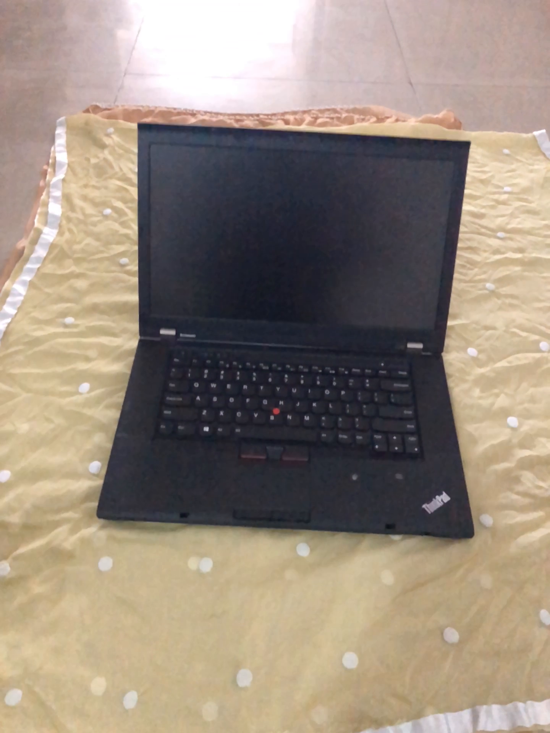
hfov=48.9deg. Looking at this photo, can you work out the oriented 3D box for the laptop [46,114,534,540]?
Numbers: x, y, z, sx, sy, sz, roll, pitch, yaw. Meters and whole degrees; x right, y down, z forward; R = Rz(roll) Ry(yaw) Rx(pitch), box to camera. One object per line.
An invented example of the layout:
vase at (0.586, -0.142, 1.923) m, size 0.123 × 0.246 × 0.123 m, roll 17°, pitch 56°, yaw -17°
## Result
laptop at (0.016, -0.055, 0.634) m, size 0.363 × 0.191 × 0.382 m, roll 3°, pitch 53°, yaw 0°
